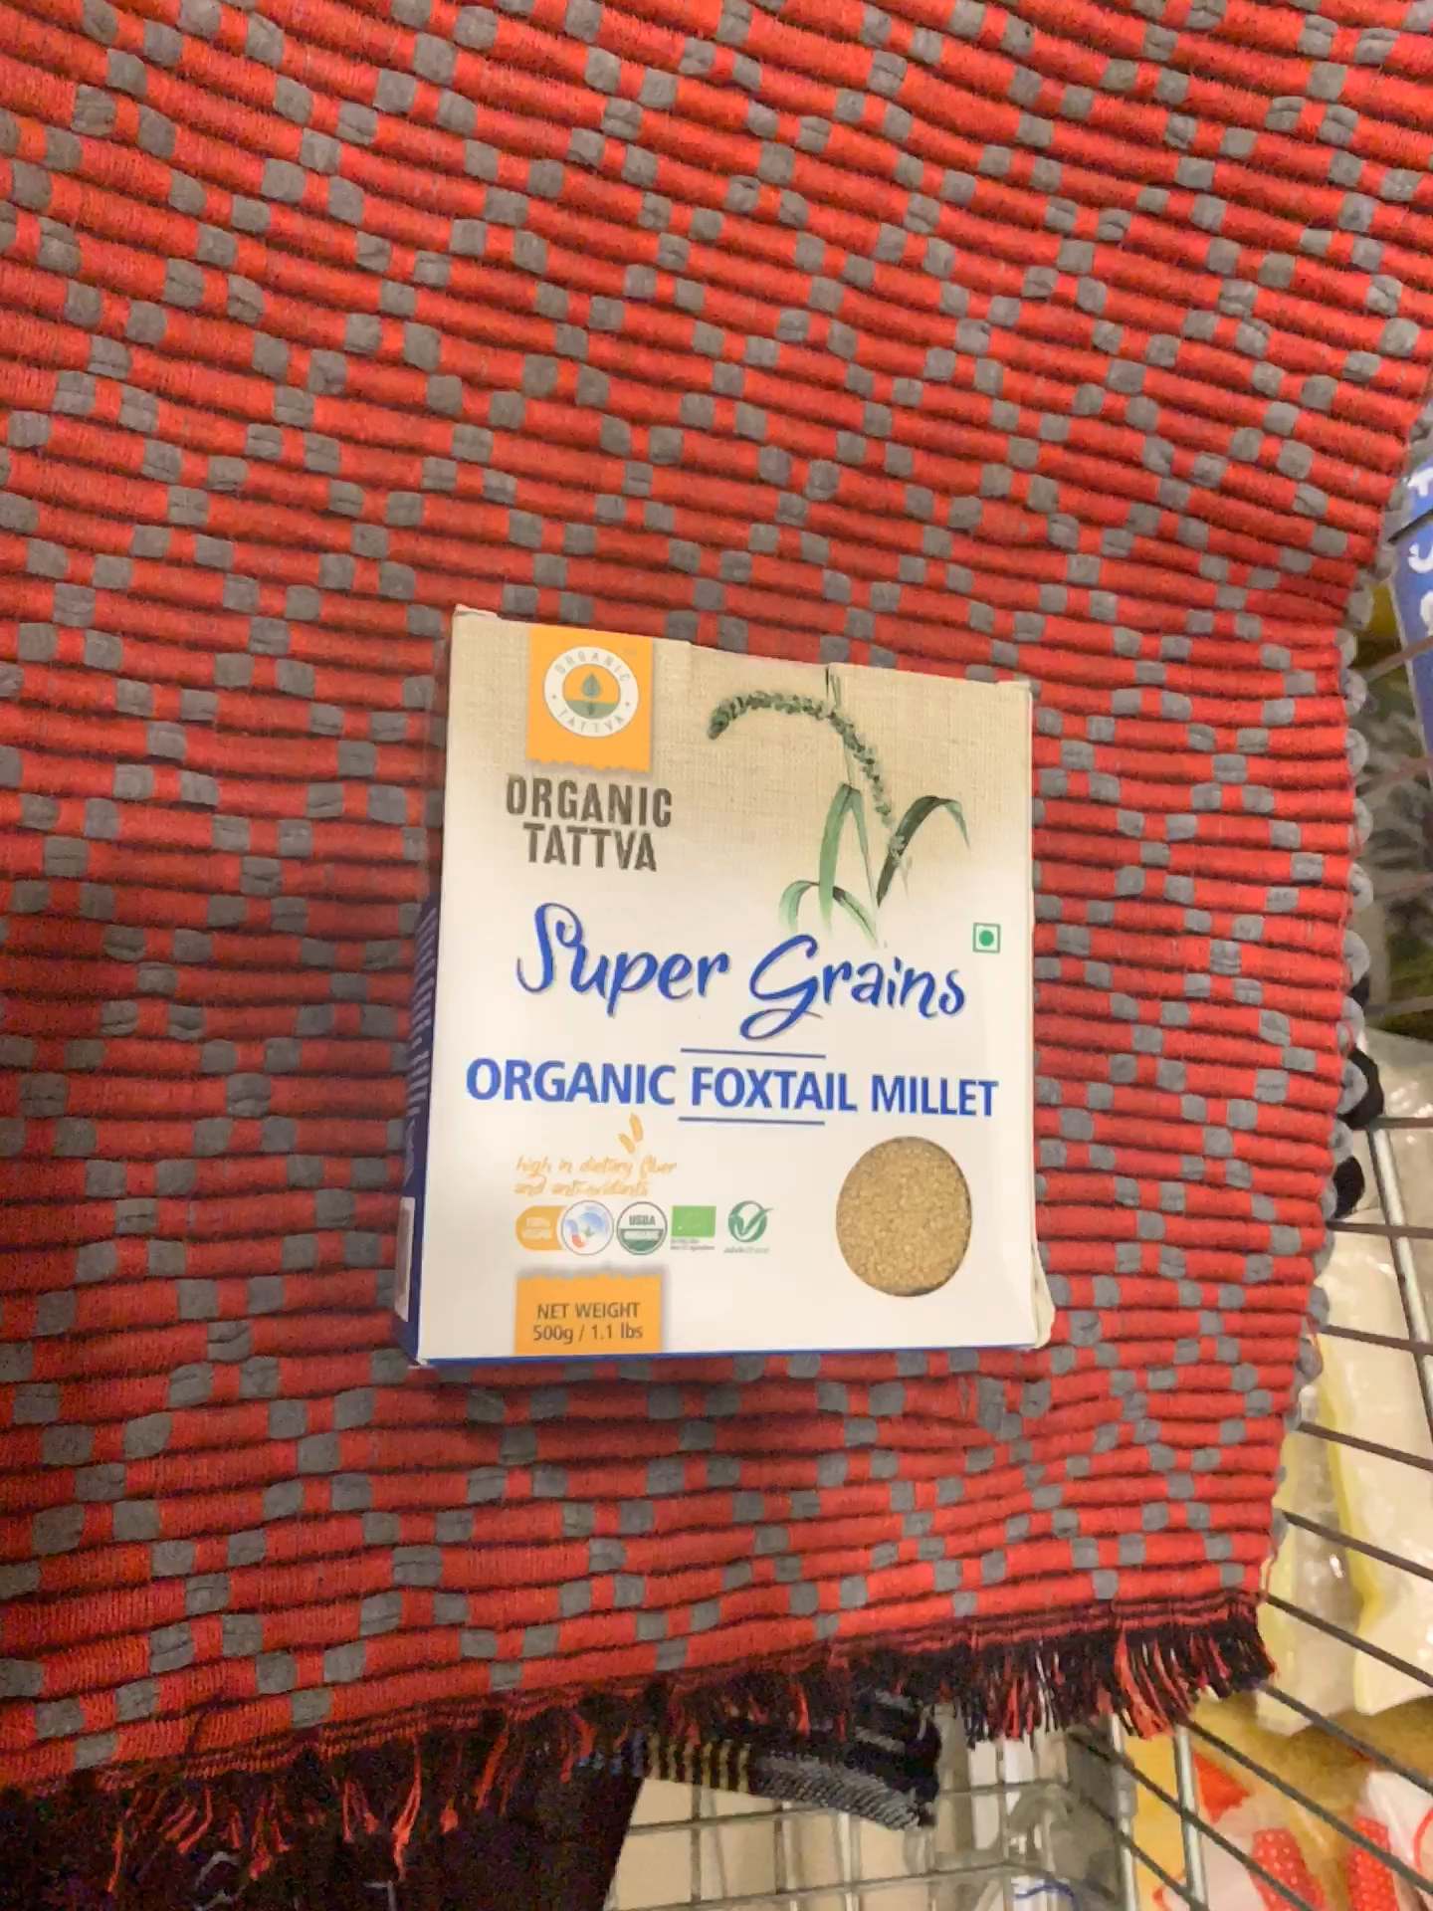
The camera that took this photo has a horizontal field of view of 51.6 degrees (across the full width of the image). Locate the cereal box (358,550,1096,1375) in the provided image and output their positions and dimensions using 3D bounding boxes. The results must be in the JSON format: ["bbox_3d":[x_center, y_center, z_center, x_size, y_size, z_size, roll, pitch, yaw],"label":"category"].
[{"bbox_3d":[0.002,0.006,0.316,0.140,0.060,0.150,4,81,-17],"label":"cereal box"}]
